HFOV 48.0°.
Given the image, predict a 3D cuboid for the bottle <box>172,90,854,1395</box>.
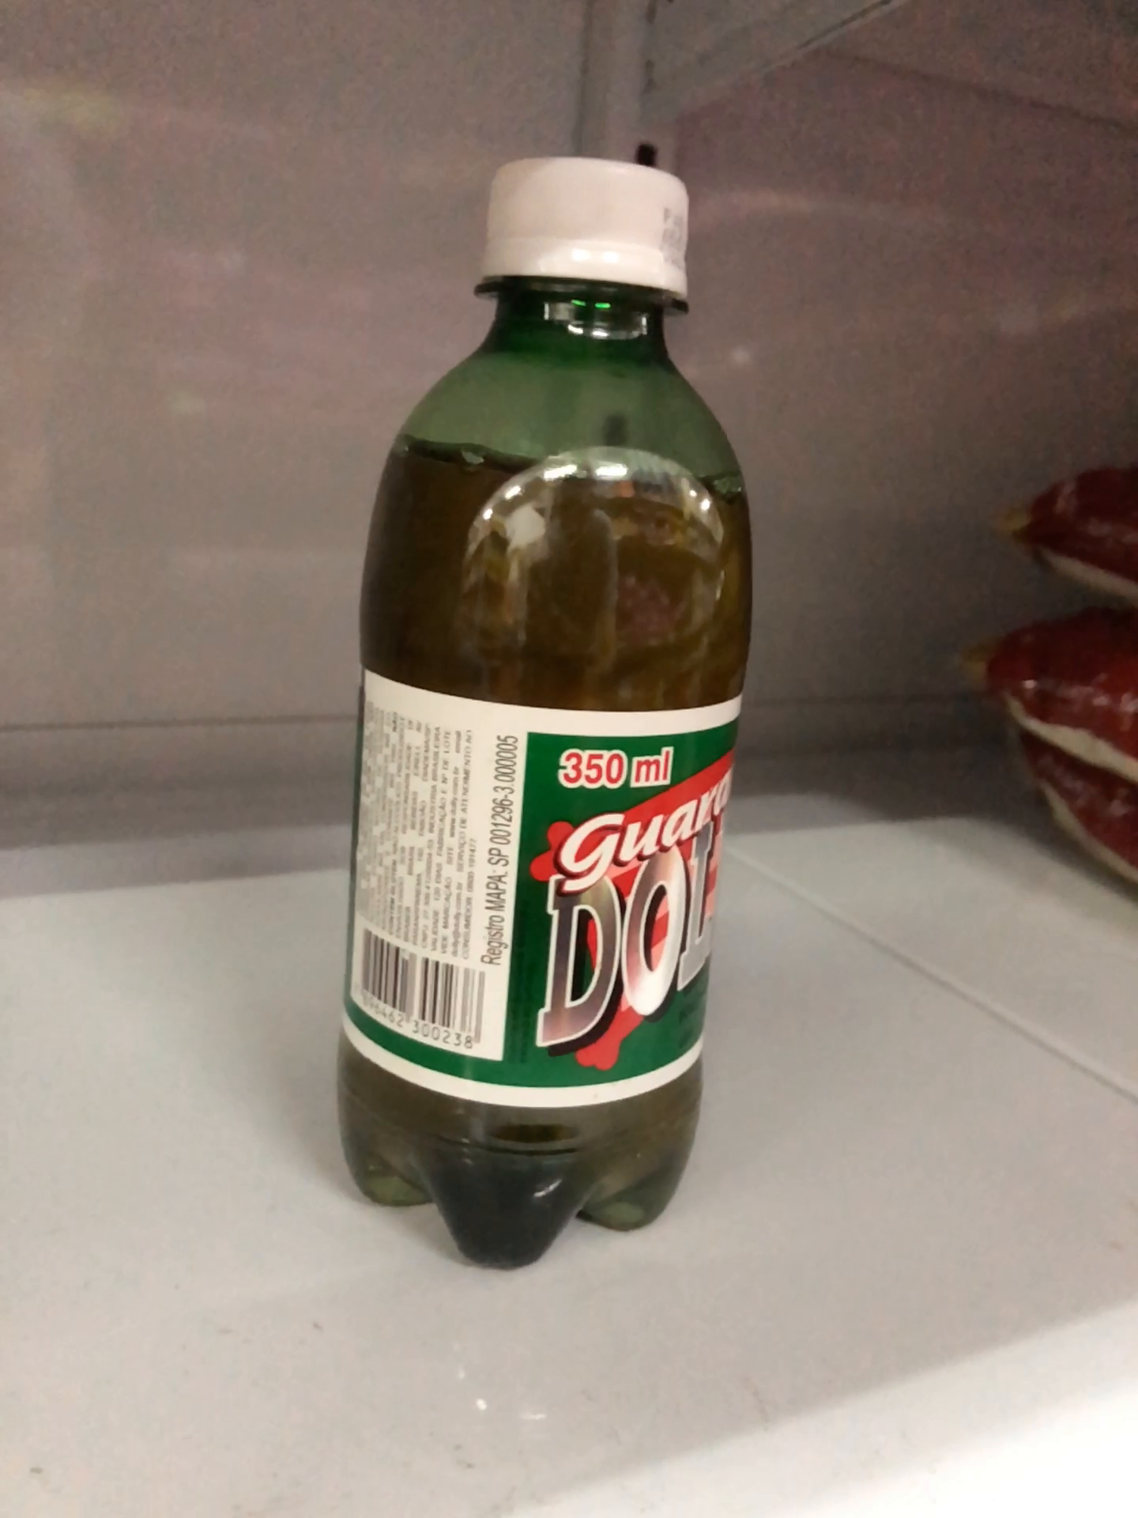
[{"bbox_3d":[-0.012,-0.006,0.220,0.070,0.179,0.080,14,18,30],"label":"bottle"}]
